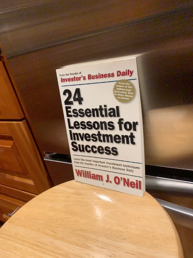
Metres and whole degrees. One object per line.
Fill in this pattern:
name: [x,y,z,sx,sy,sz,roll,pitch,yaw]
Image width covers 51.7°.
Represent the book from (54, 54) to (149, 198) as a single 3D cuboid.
book: [0.009,-0.001,0.357,0.150,0.229,0.030,3,19,34]
